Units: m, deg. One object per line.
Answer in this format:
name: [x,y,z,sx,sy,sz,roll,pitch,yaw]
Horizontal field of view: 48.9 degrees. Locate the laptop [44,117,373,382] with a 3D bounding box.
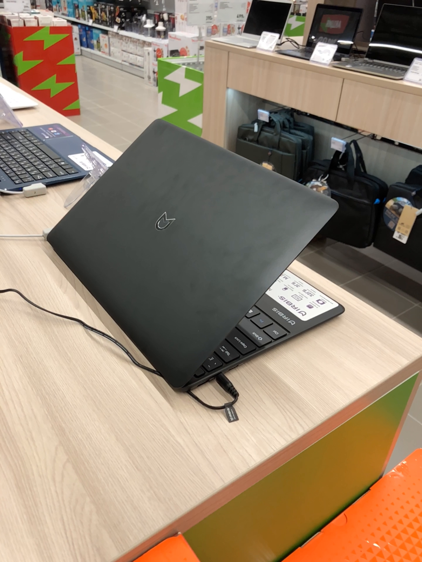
laptop: [-0.023,-0.069,0.512,0.203,0.132,0.300,-19,39,-31]
